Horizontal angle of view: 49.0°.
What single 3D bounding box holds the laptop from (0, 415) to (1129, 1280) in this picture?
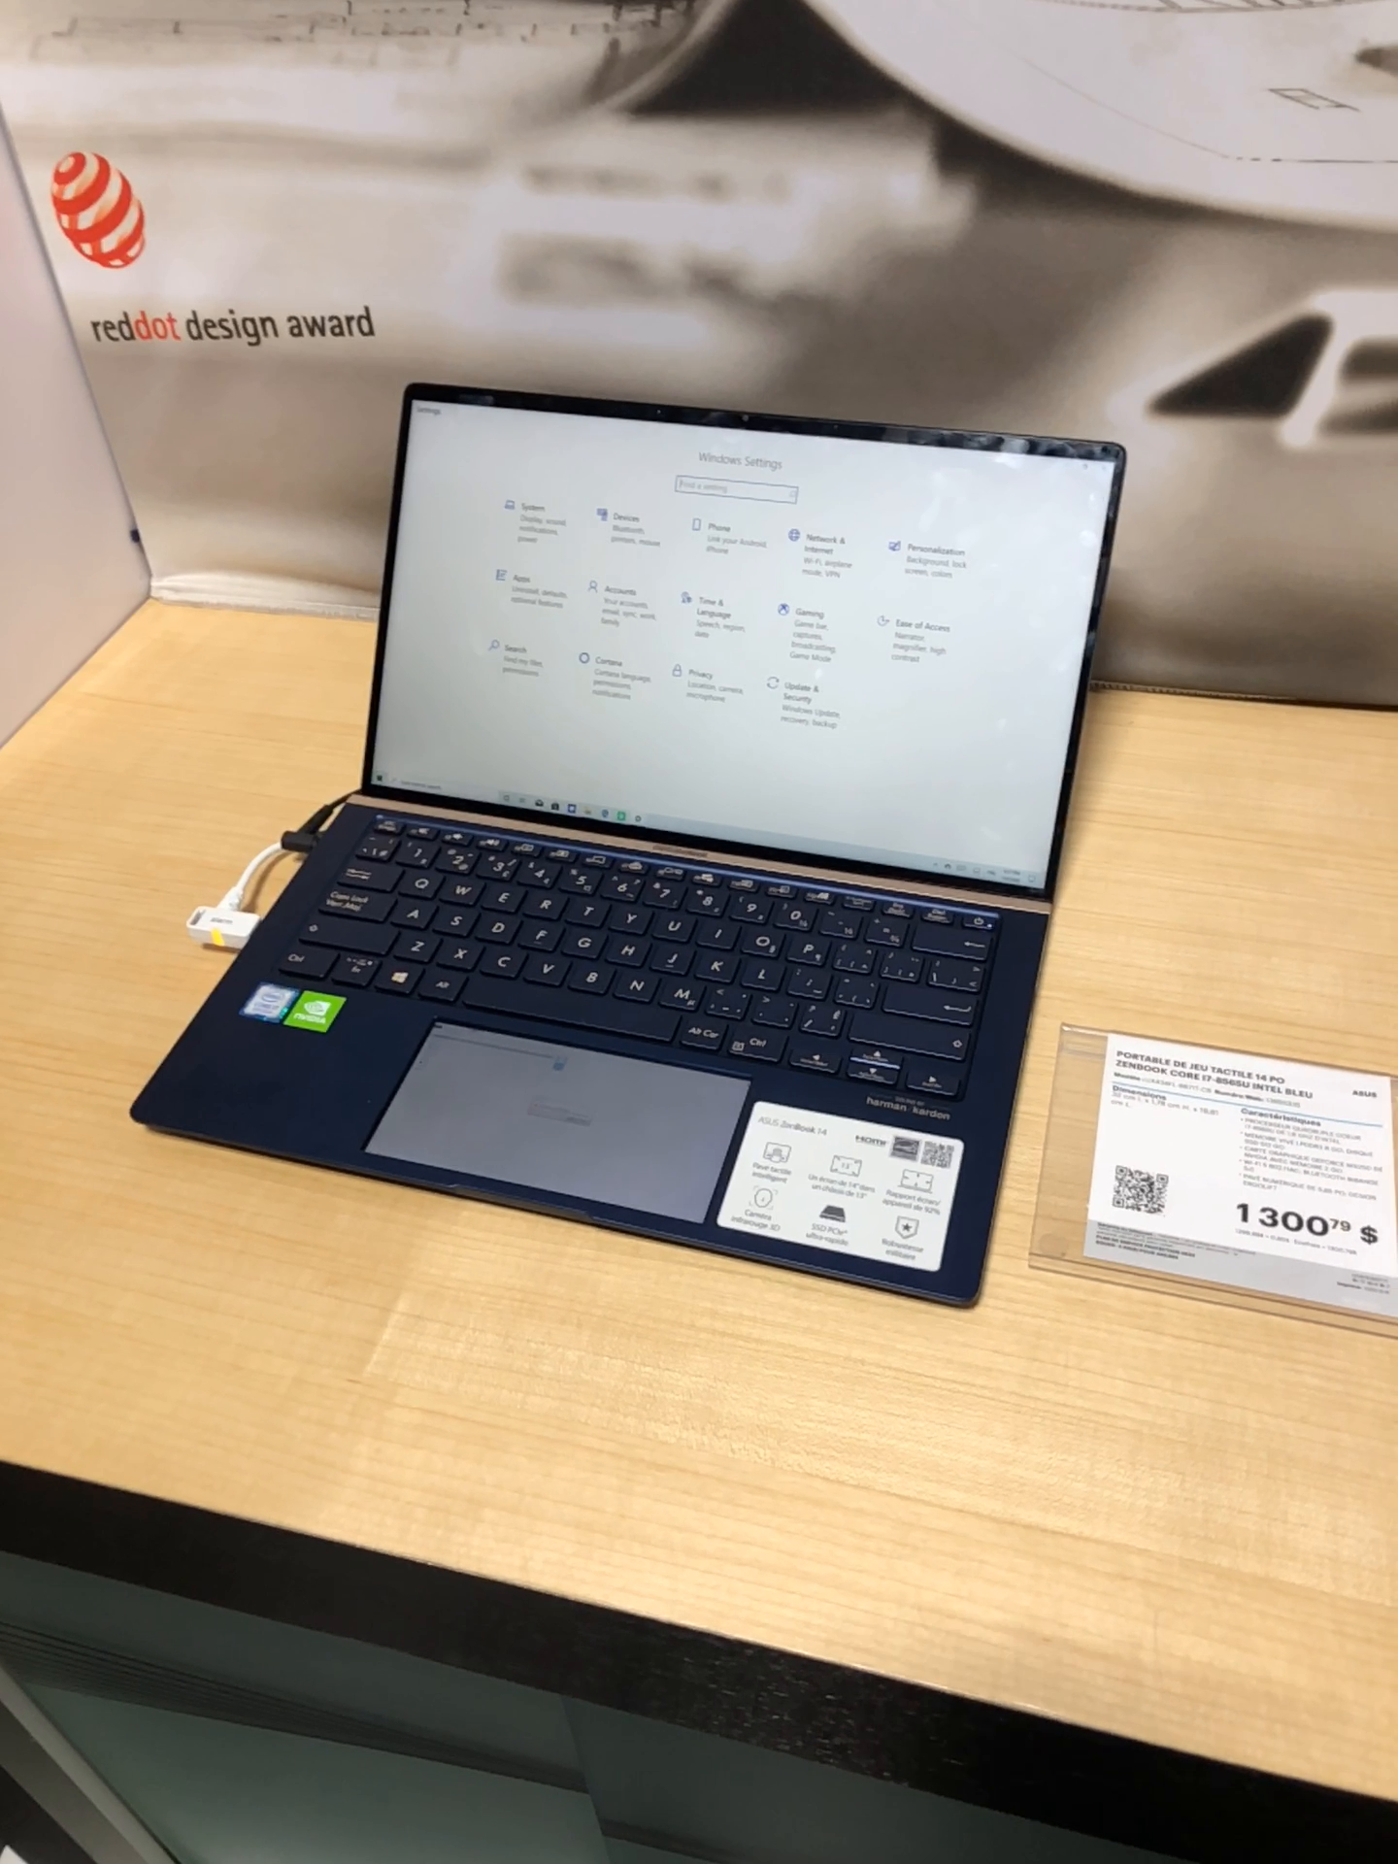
[{"bbox_3d":[-0.022,-0.063,0.631,0.332,0.159,0.322,9,43,14],"label":"laptop"}]
